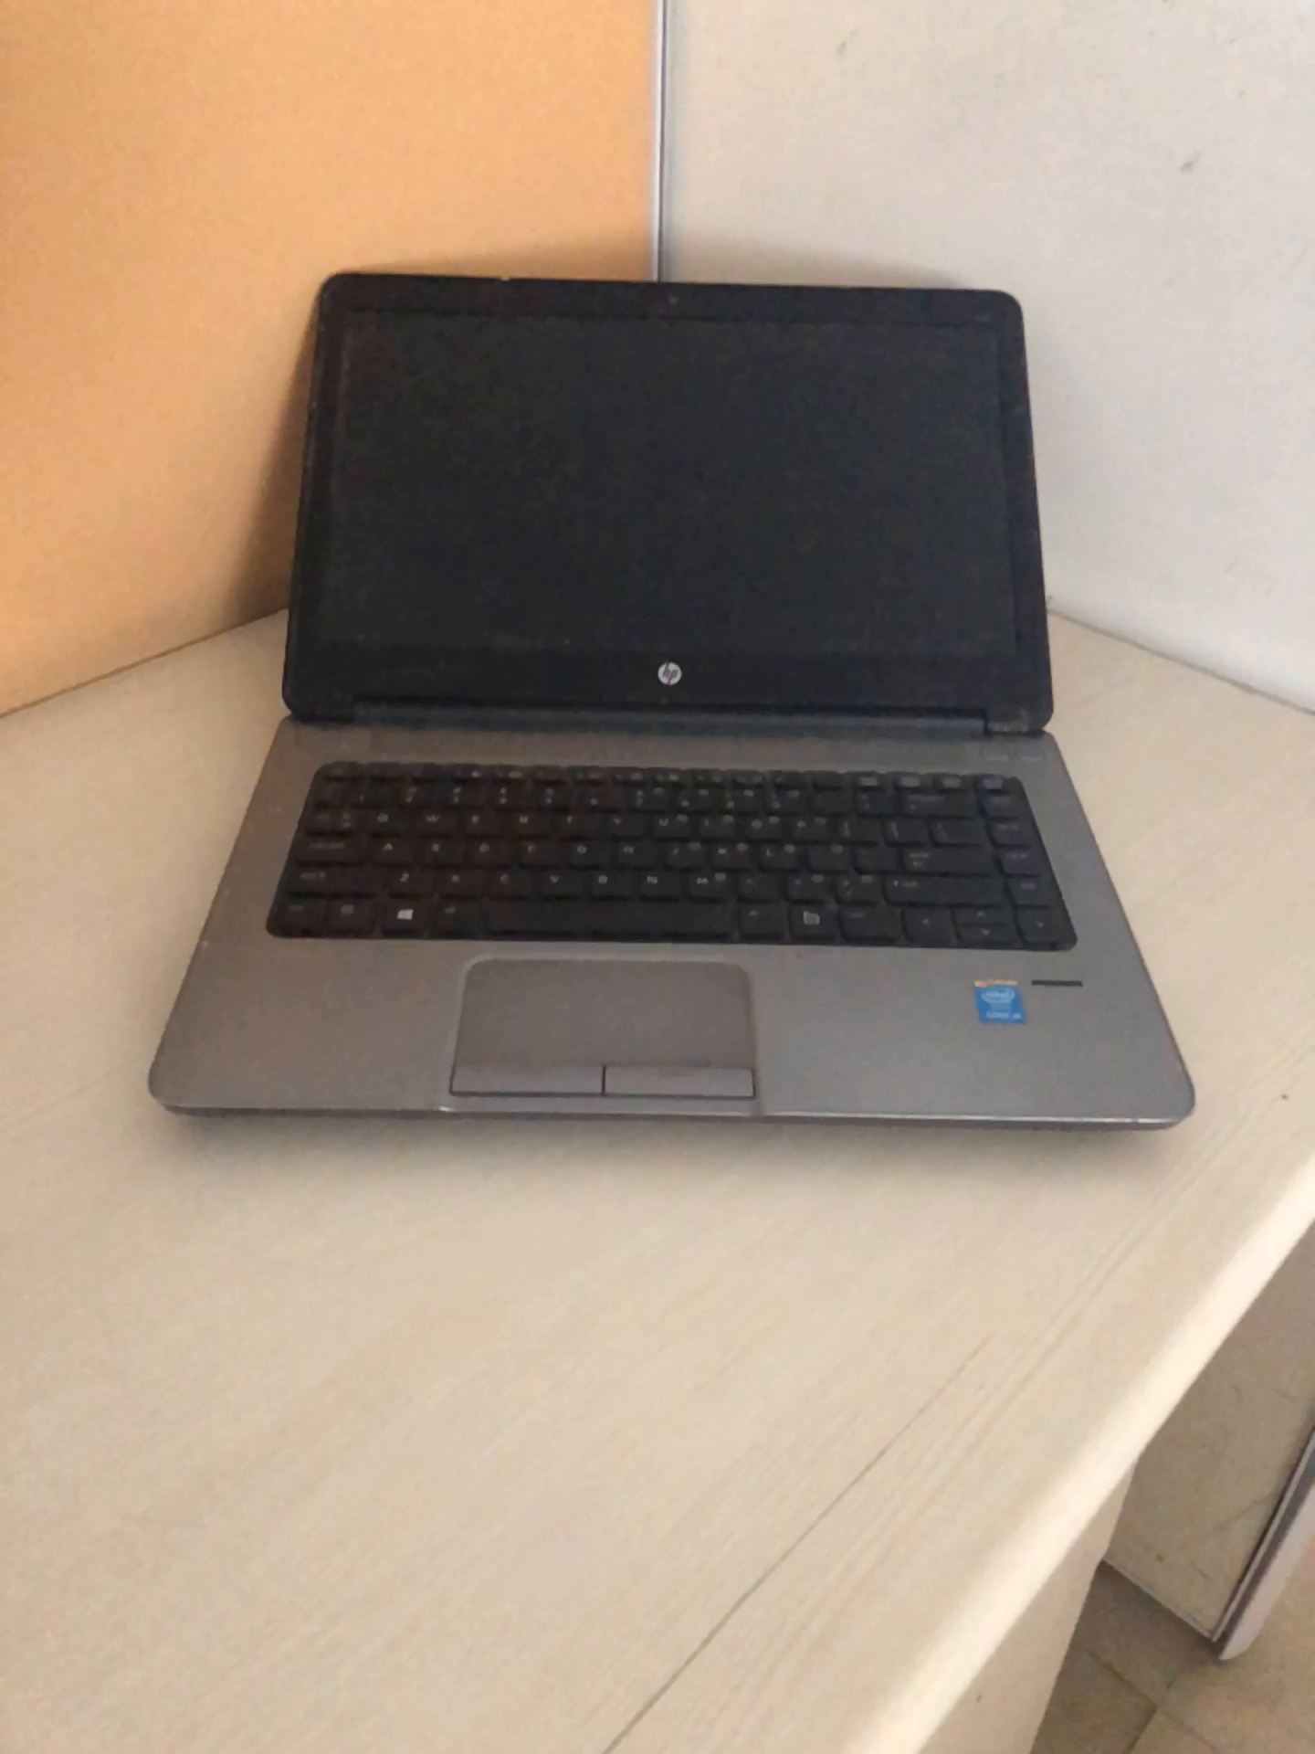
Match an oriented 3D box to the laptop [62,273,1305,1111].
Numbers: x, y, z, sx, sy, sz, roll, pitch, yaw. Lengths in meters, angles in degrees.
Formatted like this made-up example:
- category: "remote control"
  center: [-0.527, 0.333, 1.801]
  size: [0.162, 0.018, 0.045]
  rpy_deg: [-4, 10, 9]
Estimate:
- category: "laptop"
  center: [0.008, -0.105, 0.556]
  size: [0.316, 0.125, 0.393]
  rpy_deg: [1, 38, -1]
